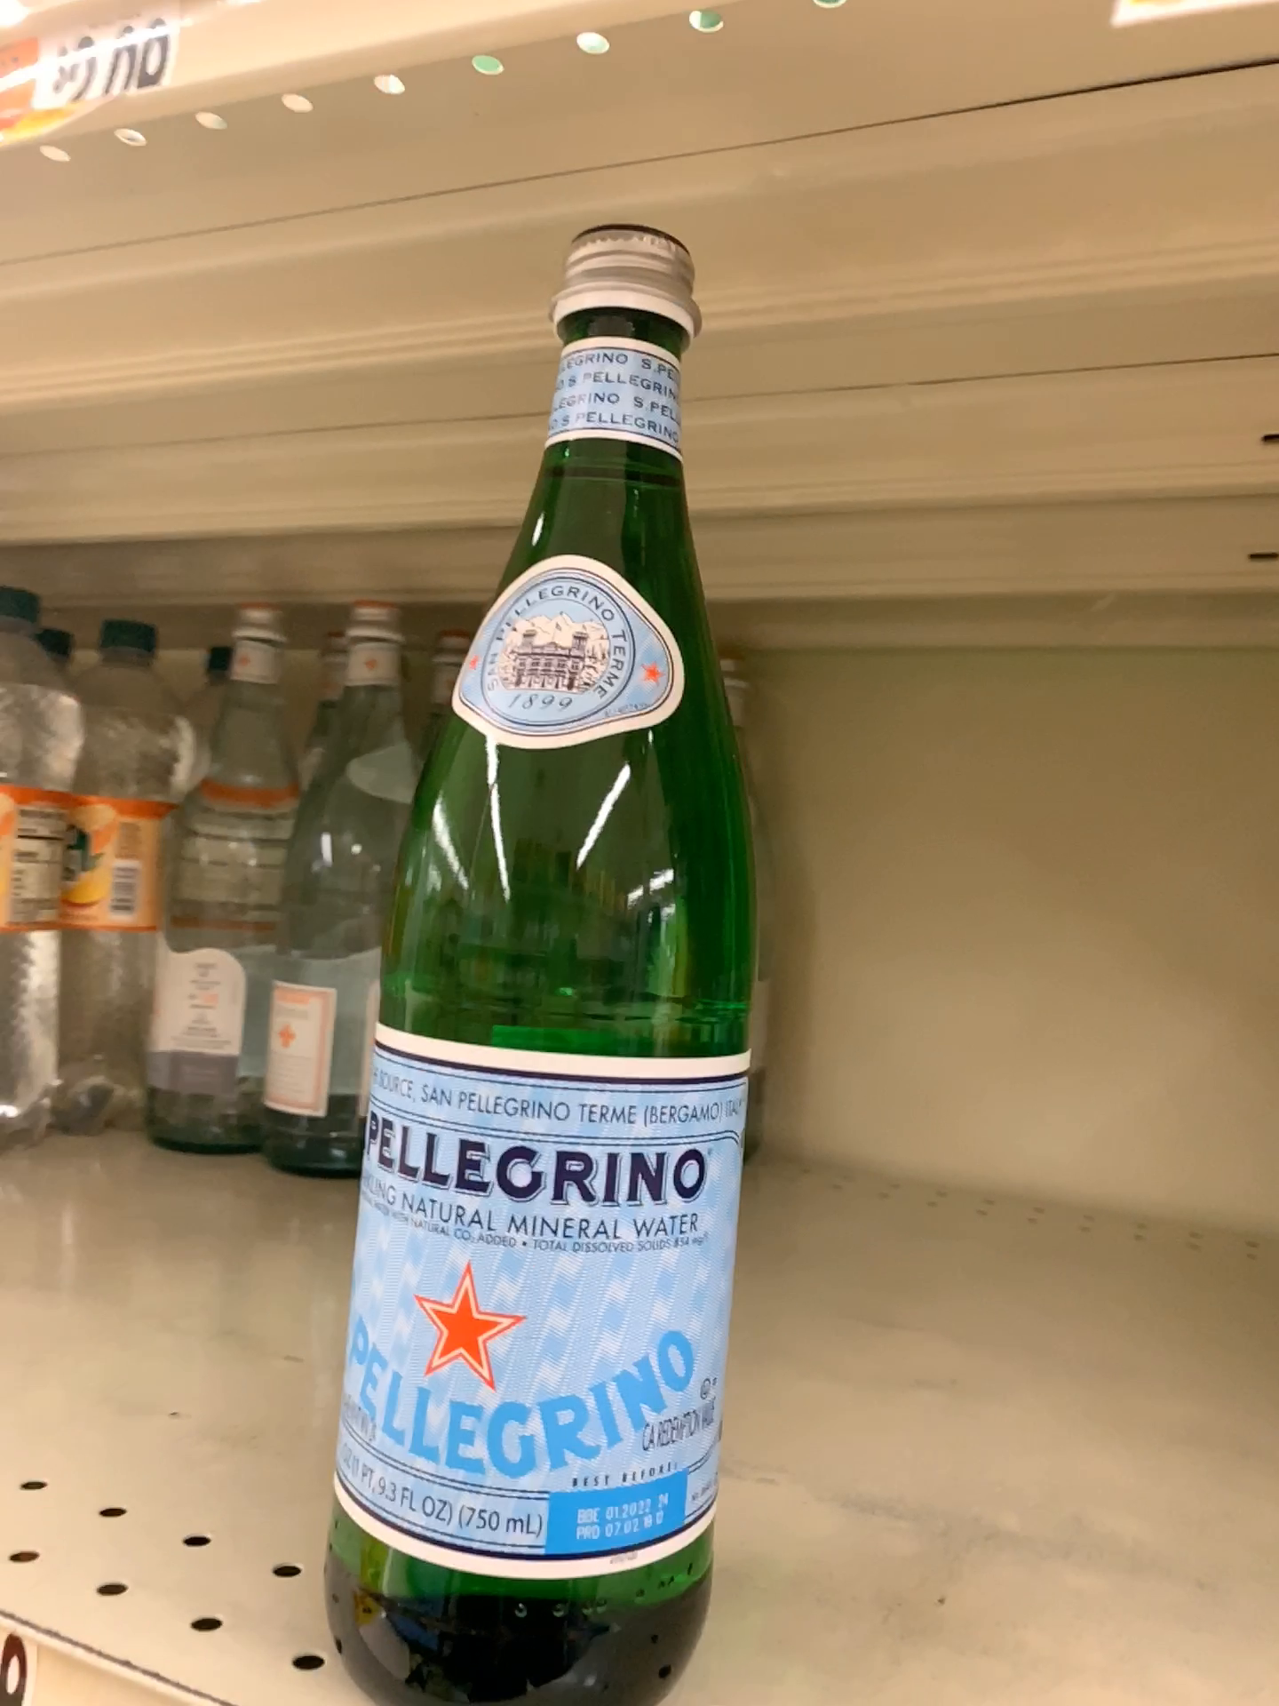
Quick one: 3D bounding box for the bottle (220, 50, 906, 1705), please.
[{"bbox_3d":[-0.010,0.013,0.273,0.090,0.290,0.090,4,-1,0],"label":"bottle"}]
